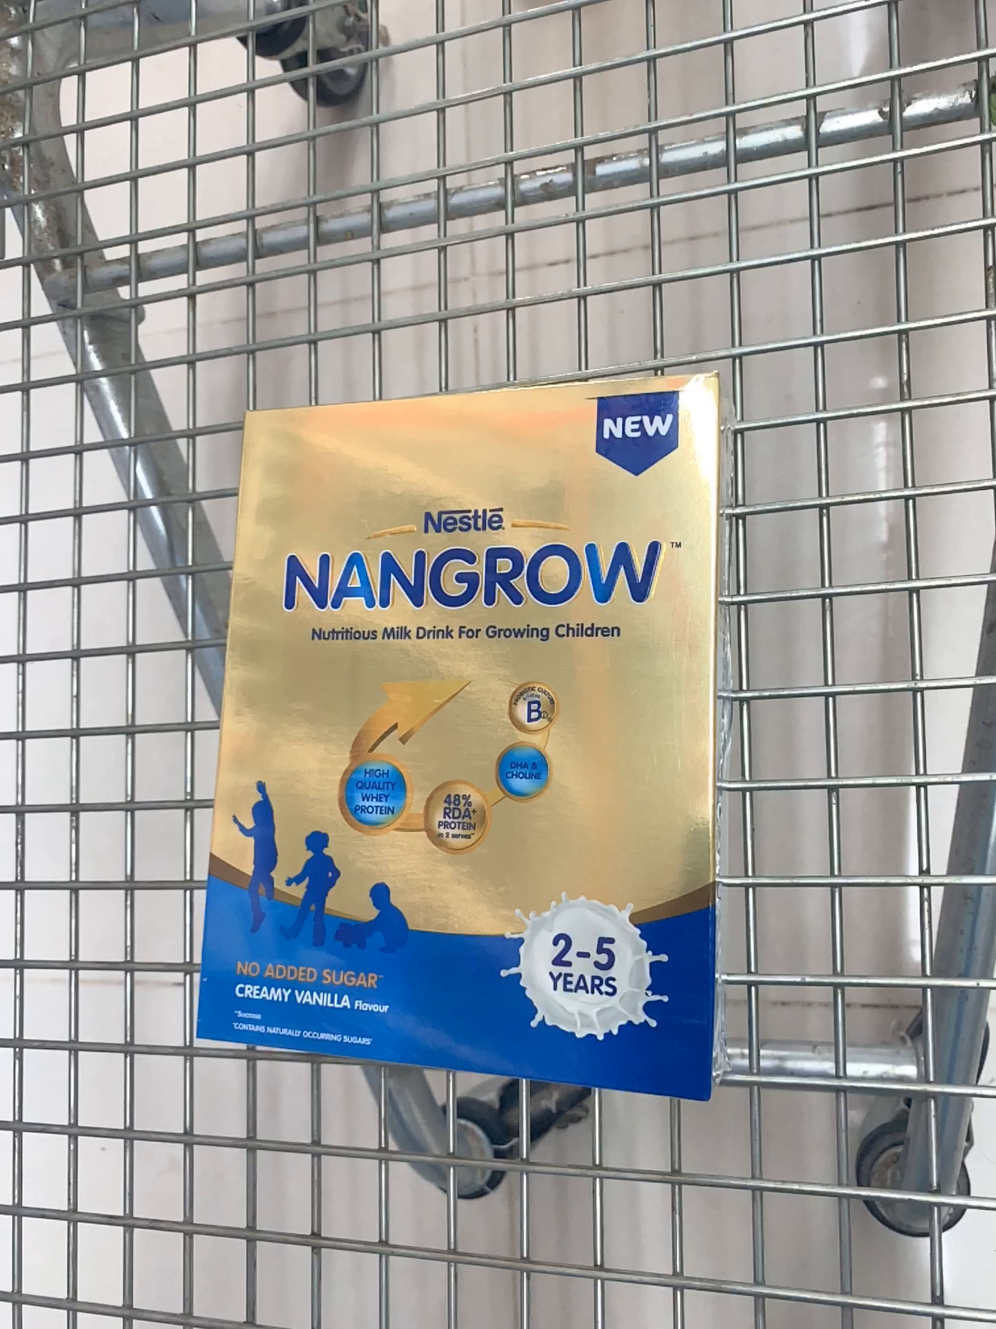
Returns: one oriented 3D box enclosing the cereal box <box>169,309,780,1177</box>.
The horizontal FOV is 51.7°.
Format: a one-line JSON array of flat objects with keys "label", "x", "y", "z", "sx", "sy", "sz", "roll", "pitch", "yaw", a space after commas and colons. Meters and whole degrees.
[{"label": "cereal box", "x": -0.003, "y": 0.017, "z": 0.277, "sx": 0.150, "sy": 0.060, "sz": 0.190, "roll": 0, "pitch": 86, "yaw": 18}]
